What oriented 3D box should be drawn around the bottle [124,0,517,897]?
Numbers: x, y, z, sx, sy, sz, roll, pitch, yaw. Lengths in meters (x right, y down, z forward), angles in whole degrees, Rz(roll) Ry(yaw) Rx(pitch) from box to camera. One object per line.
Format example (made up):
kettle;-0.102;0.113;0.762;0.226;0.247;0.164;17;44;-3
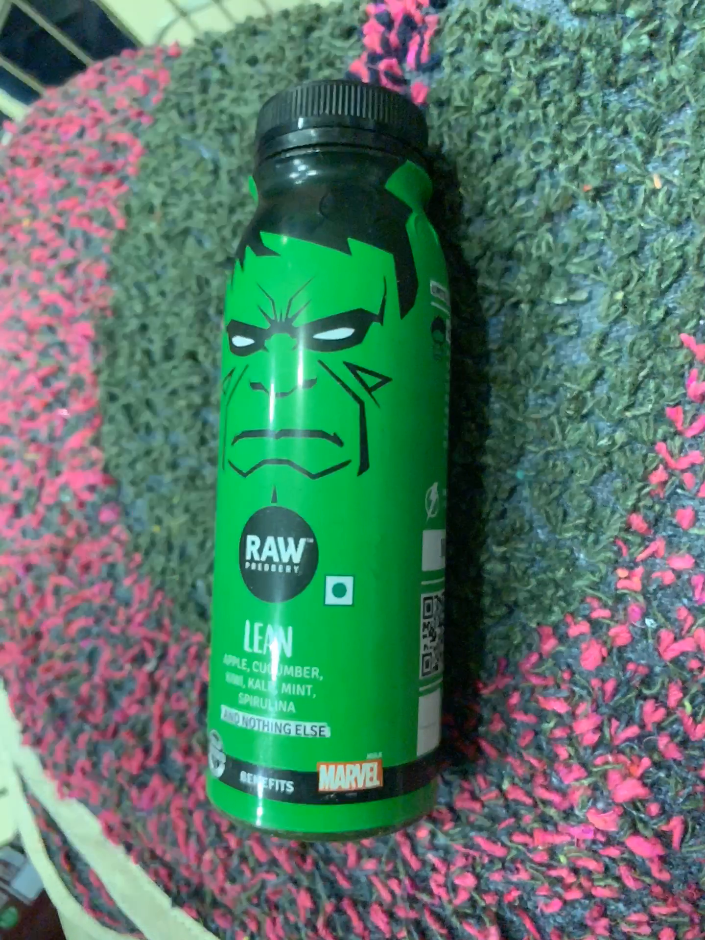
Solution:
bottle;-0.003;-0.008;0.164;0.060;0.050;0.160;0;84;30
